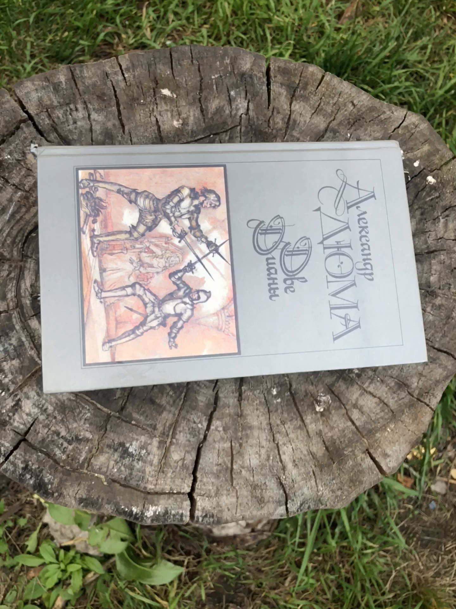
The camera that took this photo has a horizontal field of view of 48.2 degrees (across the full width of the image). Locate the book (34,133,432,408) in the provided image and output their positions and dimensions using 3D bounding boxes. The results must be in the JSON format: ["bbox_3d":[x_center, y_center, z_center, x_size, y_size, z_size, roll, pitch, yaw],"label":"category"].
[{"bbox_3d":[0.002,-0.022,0.285,0.204,0.030,0.140,-3,82,-7],"label":"book"}]
